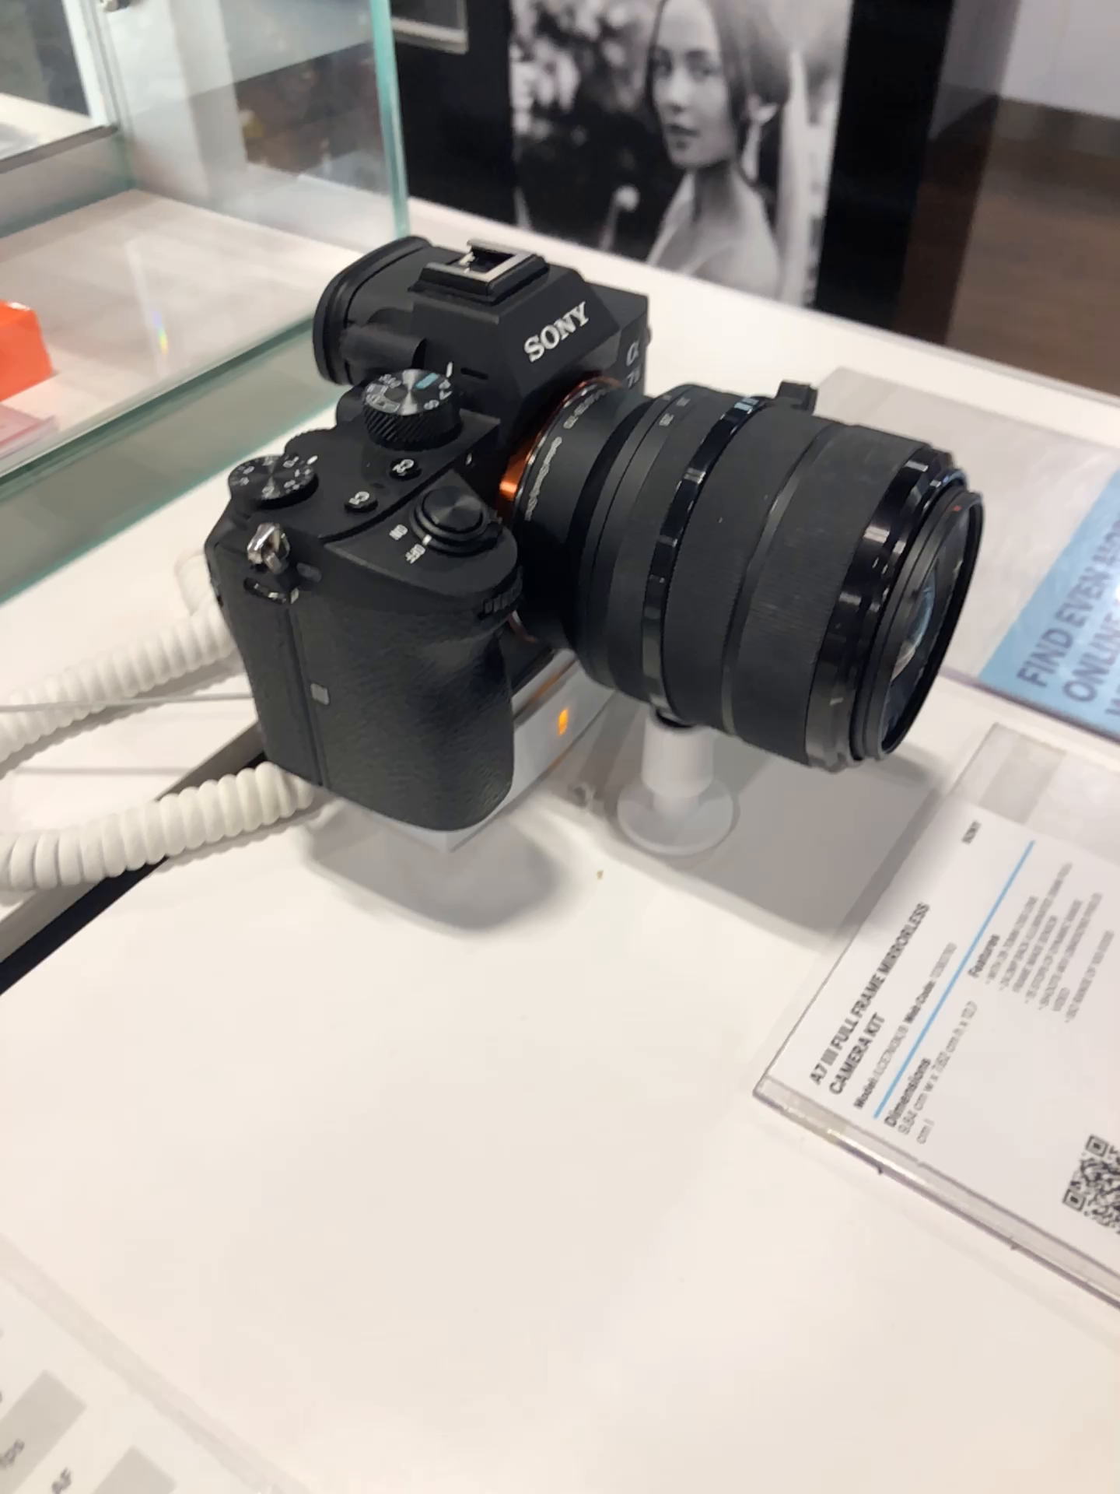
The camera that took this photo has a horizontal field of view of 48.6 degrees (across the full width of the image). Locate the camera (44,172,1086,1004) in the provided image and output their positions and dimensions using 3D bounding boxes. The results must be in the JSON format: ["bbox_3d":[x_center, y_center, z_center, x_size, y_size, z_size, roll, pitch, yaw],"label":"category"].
[{"bbox_3d":[0.006,-0.051,0.277,0.160,0.079,0.141,23,48,23],"label":"camera"}]
